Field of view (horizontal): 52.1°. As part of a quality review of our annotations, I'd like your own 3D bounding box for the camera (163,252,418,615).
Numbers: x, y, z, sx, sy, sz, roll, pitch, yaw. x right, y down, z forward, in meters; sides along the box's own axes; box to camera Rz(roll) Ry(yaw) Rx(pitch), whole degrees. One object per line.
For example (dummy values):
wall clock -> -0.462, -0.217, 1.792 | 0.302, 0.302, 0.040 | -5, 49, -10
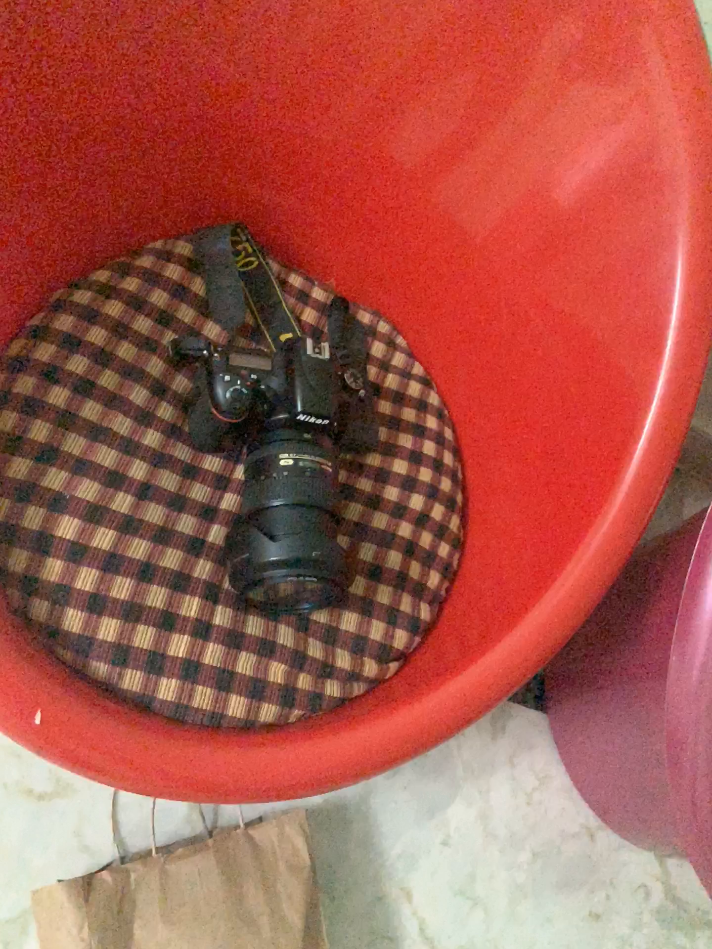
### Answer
camera -> -0.062, -0.021, 0.653 | 0.160, 0.180, 0.252 | 10, 67, -23
